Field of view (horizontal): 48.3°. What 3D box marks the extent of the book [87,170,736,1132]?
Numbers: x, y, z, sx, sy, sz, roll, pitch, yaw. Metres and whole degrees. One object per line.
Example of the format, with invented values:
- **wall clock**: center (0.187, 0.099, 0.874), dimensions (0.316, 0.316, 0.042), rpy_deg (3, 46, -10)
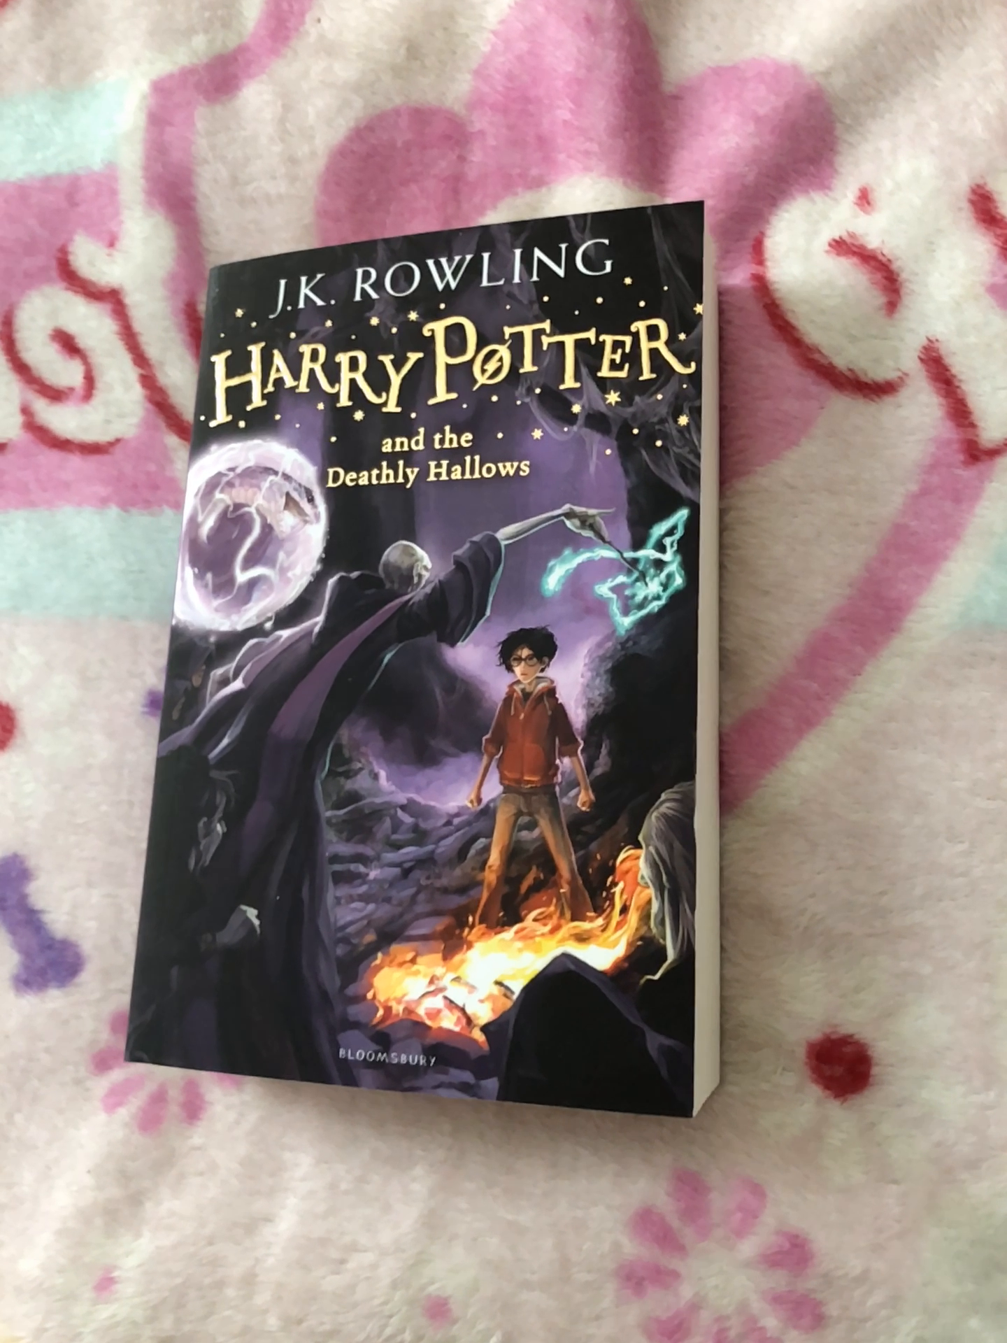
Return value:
- **book**: center (-0.014, -0.005, 0.261), dimensions (0.126, 0.060, 0.187), rpy_deg (-1, 78, 18)
